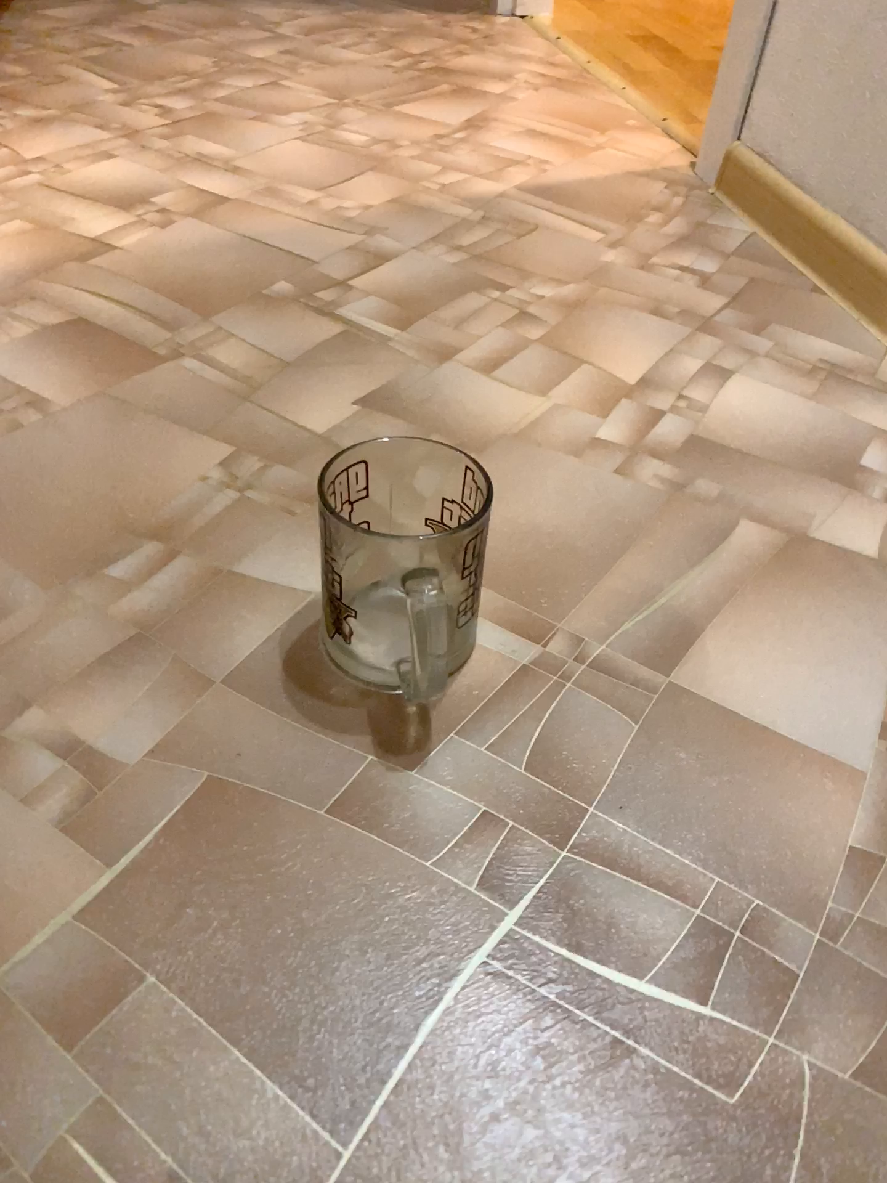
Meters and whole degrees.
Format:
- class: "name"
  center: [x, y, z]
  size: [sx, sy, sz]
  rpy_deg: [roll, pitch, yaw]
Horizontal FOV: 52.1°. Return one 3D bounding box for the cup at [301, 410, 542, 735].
- class: "cup"
  center: [-0.016, -0.010, 0.401]
  size: [0.081, 0.097, 0.098]
  rpy_deg: [-5, 44, -11]
